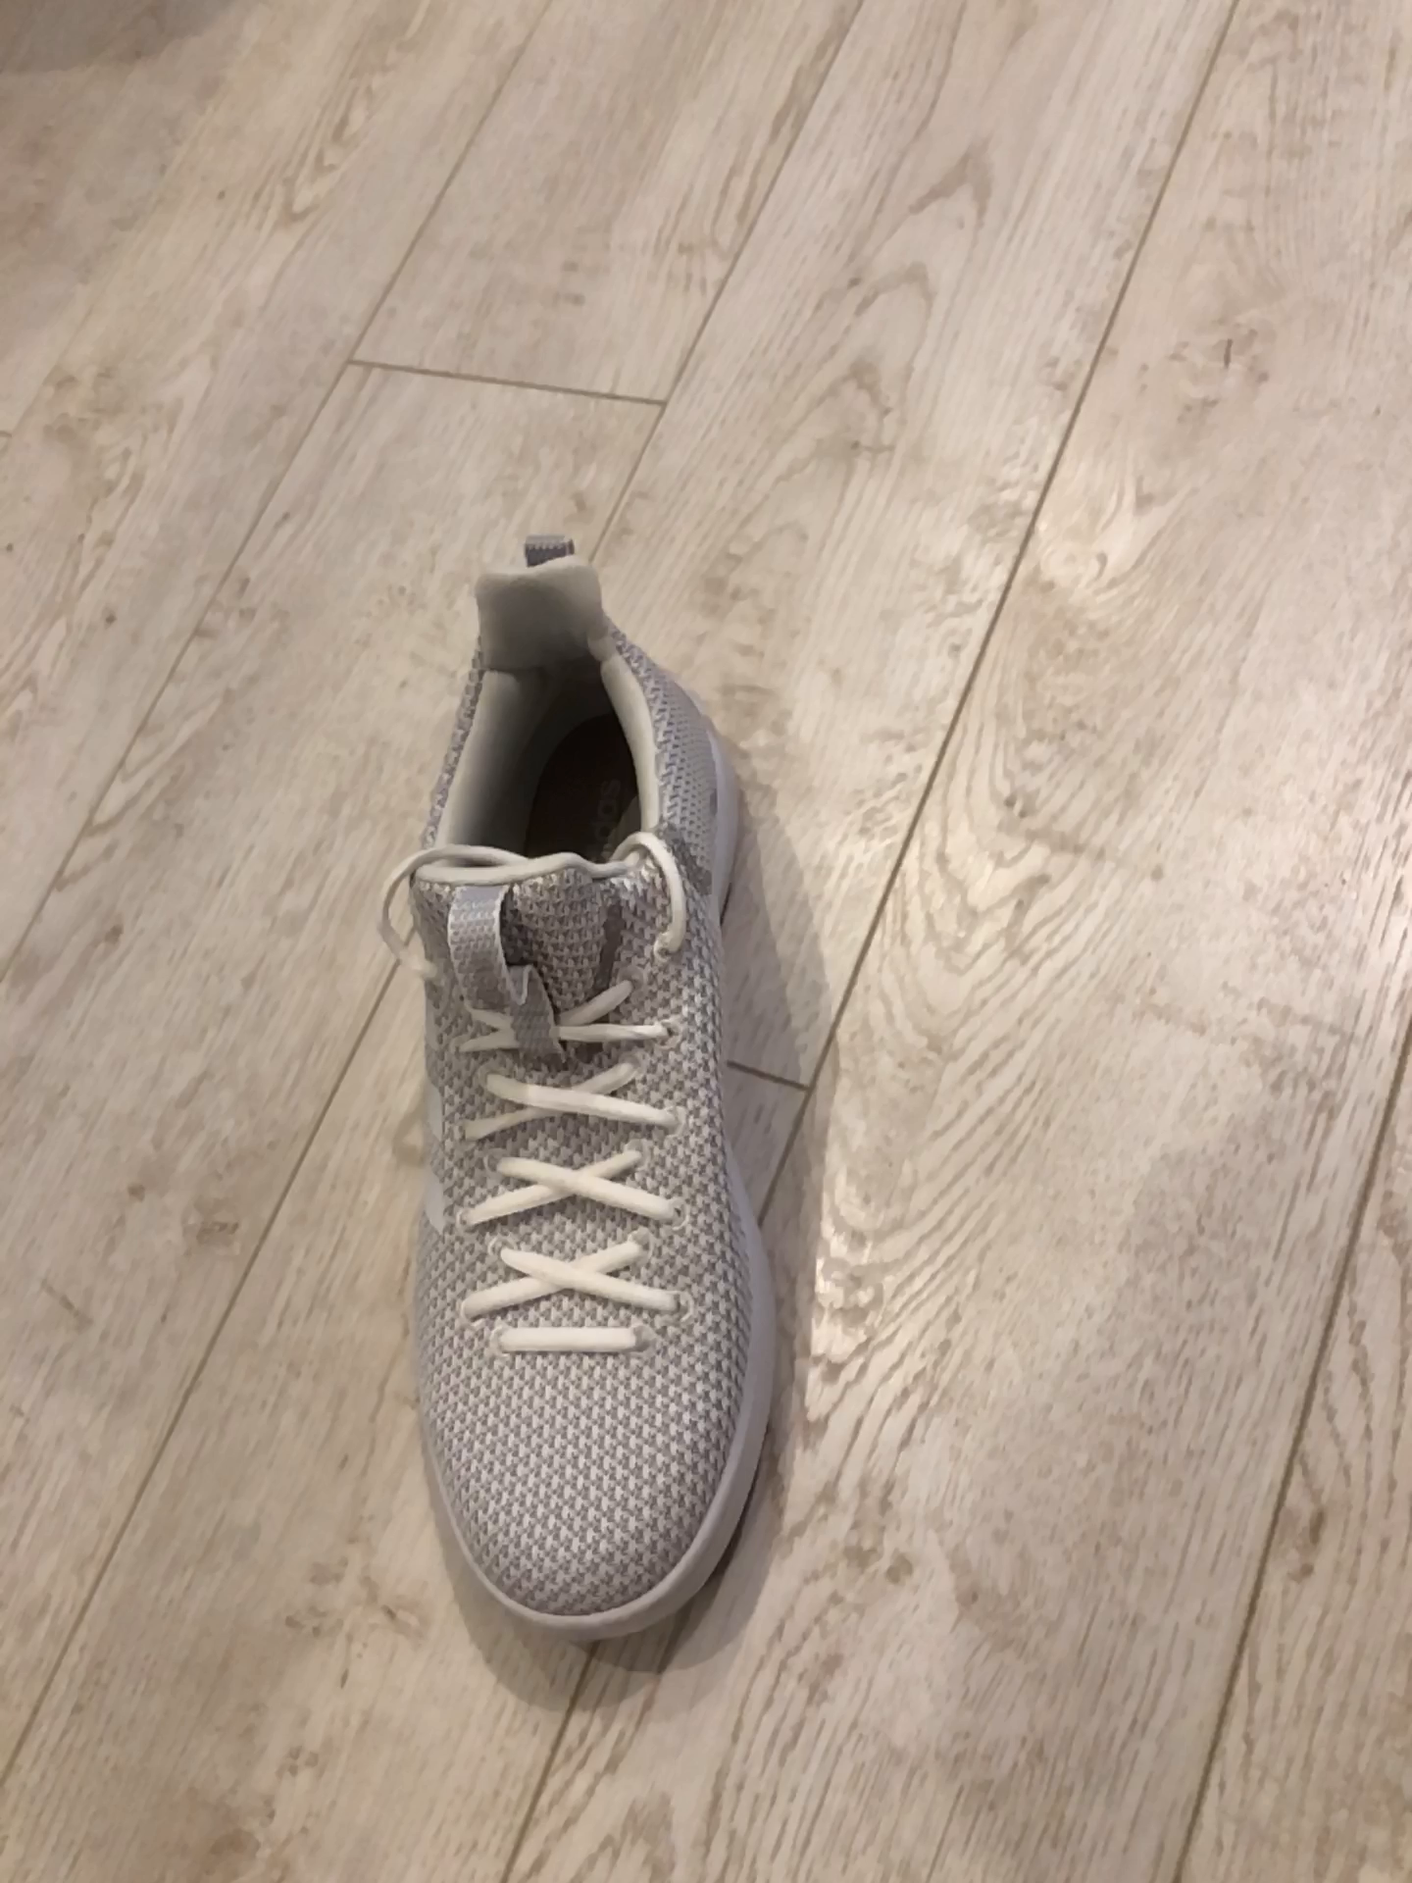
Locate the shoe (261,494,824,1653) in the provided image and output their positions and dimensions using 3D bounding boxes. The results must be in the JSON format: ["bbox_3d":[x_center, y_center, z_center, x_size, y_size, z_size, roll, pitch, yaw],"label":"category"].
[{"bbox_3d":[-0.032,0.036,0.432,0.100,0.110,0.291,-7,65,15],"label":"shoe"}]
